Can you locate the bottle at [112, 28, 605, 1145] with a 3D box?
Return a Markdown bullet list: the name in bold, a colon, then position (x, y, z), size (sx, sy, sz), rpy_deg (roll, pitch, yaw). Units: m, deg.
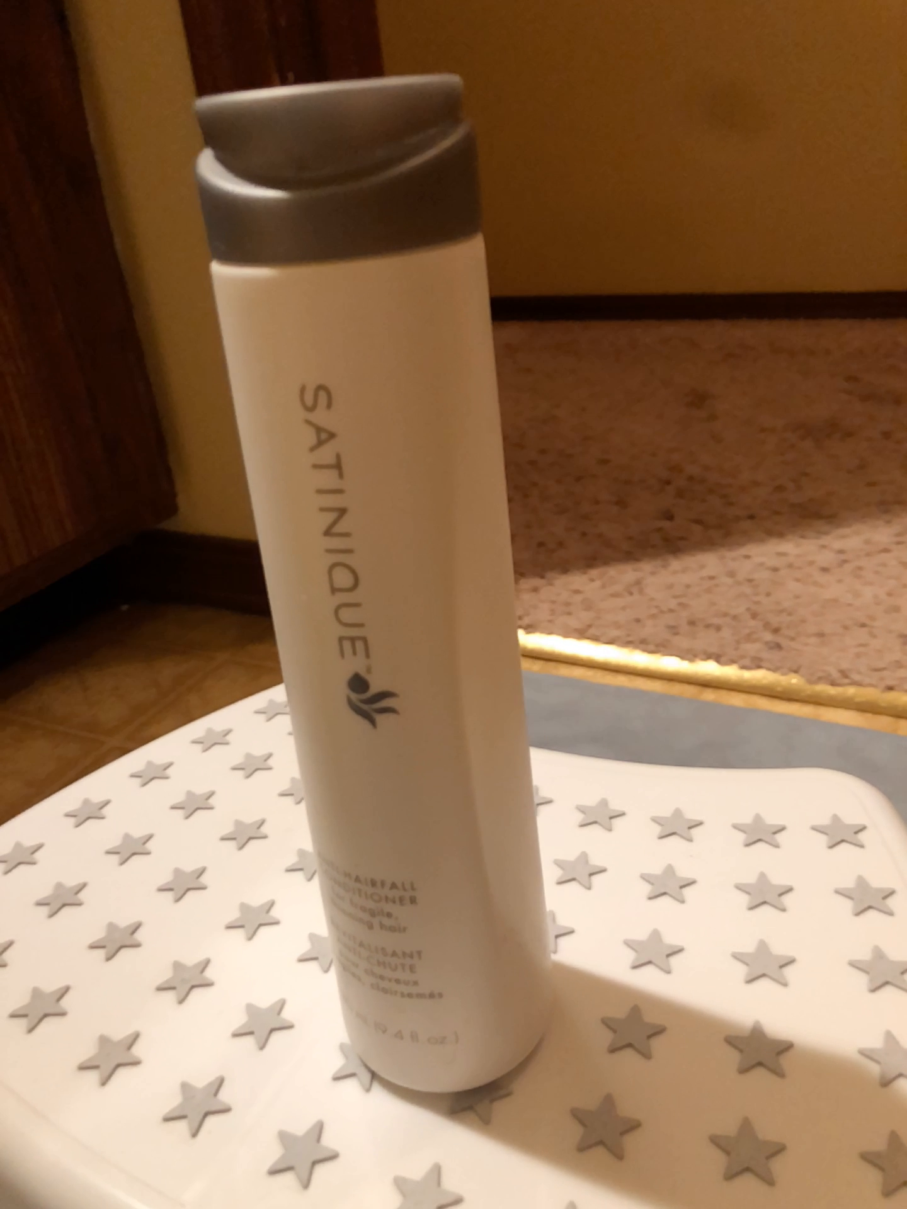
- **bottle**: position (-0.007, 0.007, 0.204), size (0.050, 0.209, 0.050), rpy_deg (-5, 25, 2)
